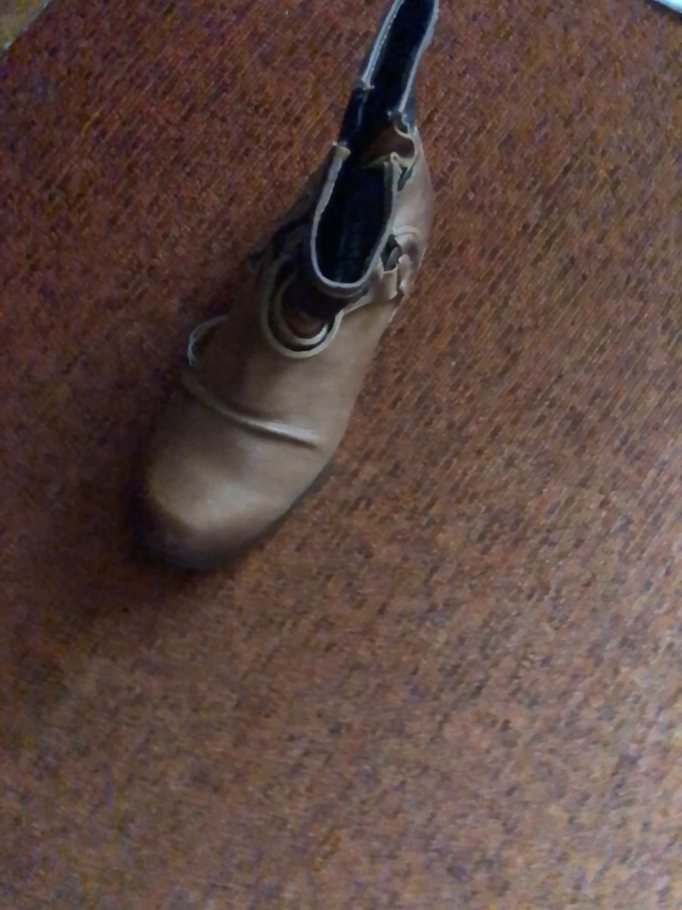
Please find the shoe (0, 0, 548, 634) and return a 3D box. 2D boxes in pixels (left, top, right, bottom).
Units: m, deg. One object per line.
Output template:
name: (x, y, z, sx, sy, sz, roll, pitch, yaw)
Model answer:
shoe: (-0.032, -0.068, 0.396, 0.110, 0.190, 0.280, 29, 82, 2)
